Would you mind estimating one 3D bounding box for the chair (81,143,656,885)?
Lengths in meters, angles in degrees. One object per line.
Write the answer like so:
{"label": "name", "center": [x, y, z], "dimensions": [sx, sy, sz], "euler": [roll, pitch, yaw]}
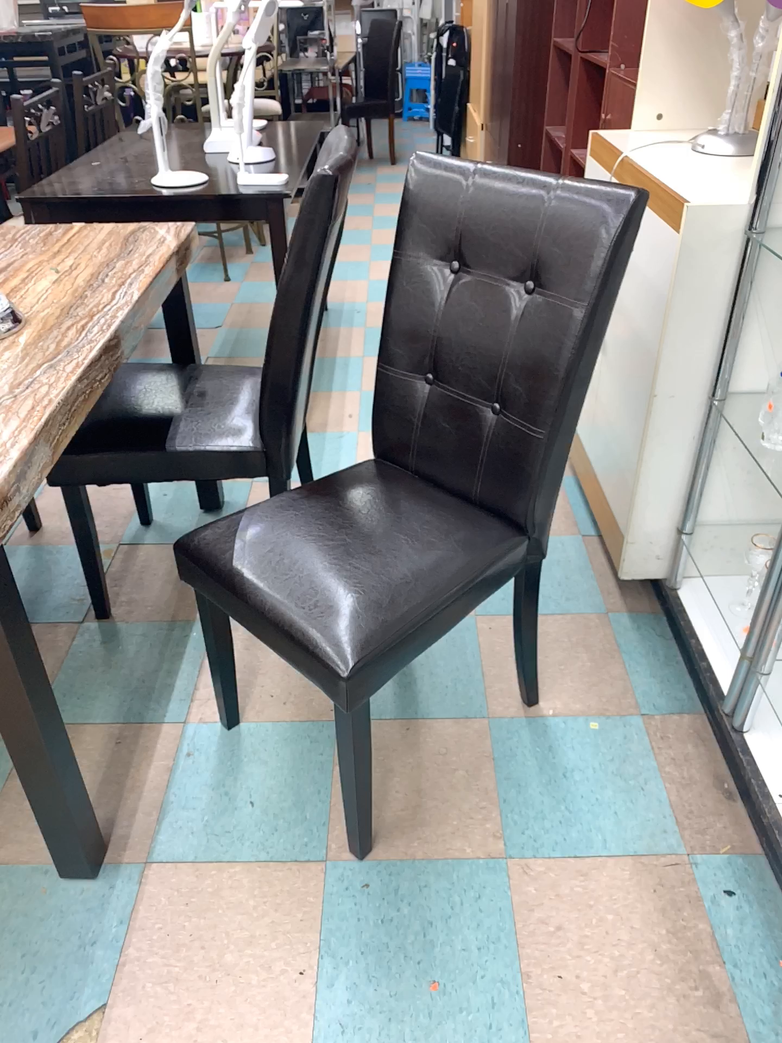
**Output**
{"label": "chair", "center": [-0.008, -0.034, 1.282], "dimensions": [0.574, 0.939, 0.471], "euler": [-28, 41, -33]}
